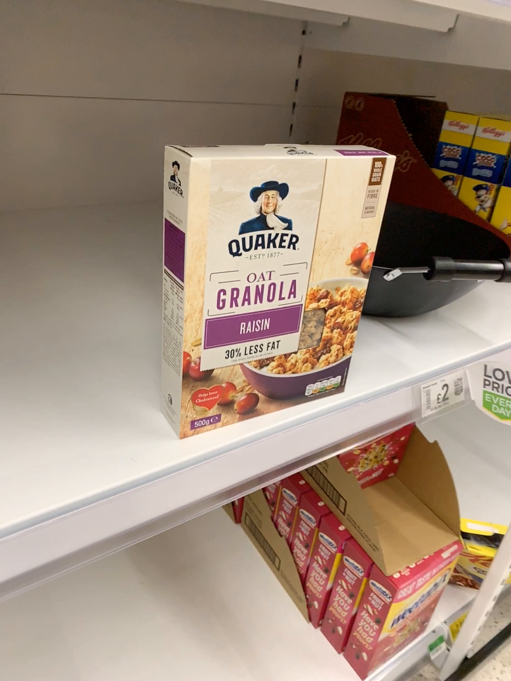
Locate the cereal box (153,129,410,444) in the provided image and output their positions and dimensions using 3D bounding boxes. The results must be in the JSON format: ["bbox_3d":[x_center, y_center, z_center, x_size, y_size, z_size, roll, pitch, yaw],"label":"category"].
[{"bbox_3d":[0.016,-0.050,0.470,0.201,0.248,0.060,-12,33,-30],"label":"cereal box"}]
